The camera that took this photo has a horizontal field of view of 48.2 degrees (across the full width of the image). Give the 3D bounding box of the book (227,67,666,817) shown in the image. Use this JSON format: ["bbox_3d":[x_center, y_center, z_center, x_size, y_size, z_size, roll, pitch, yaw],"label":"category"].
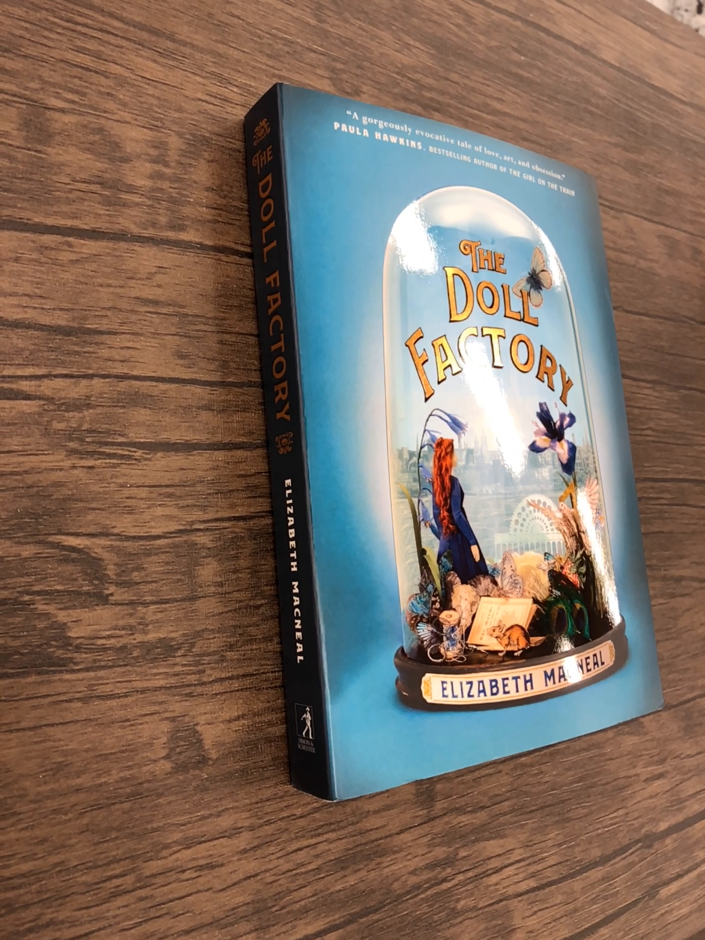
[{"bbox_3d":[0.042,-0.012,0.302,0.161,0.040,0.230,-1,82,-37],"label":"book"}]
